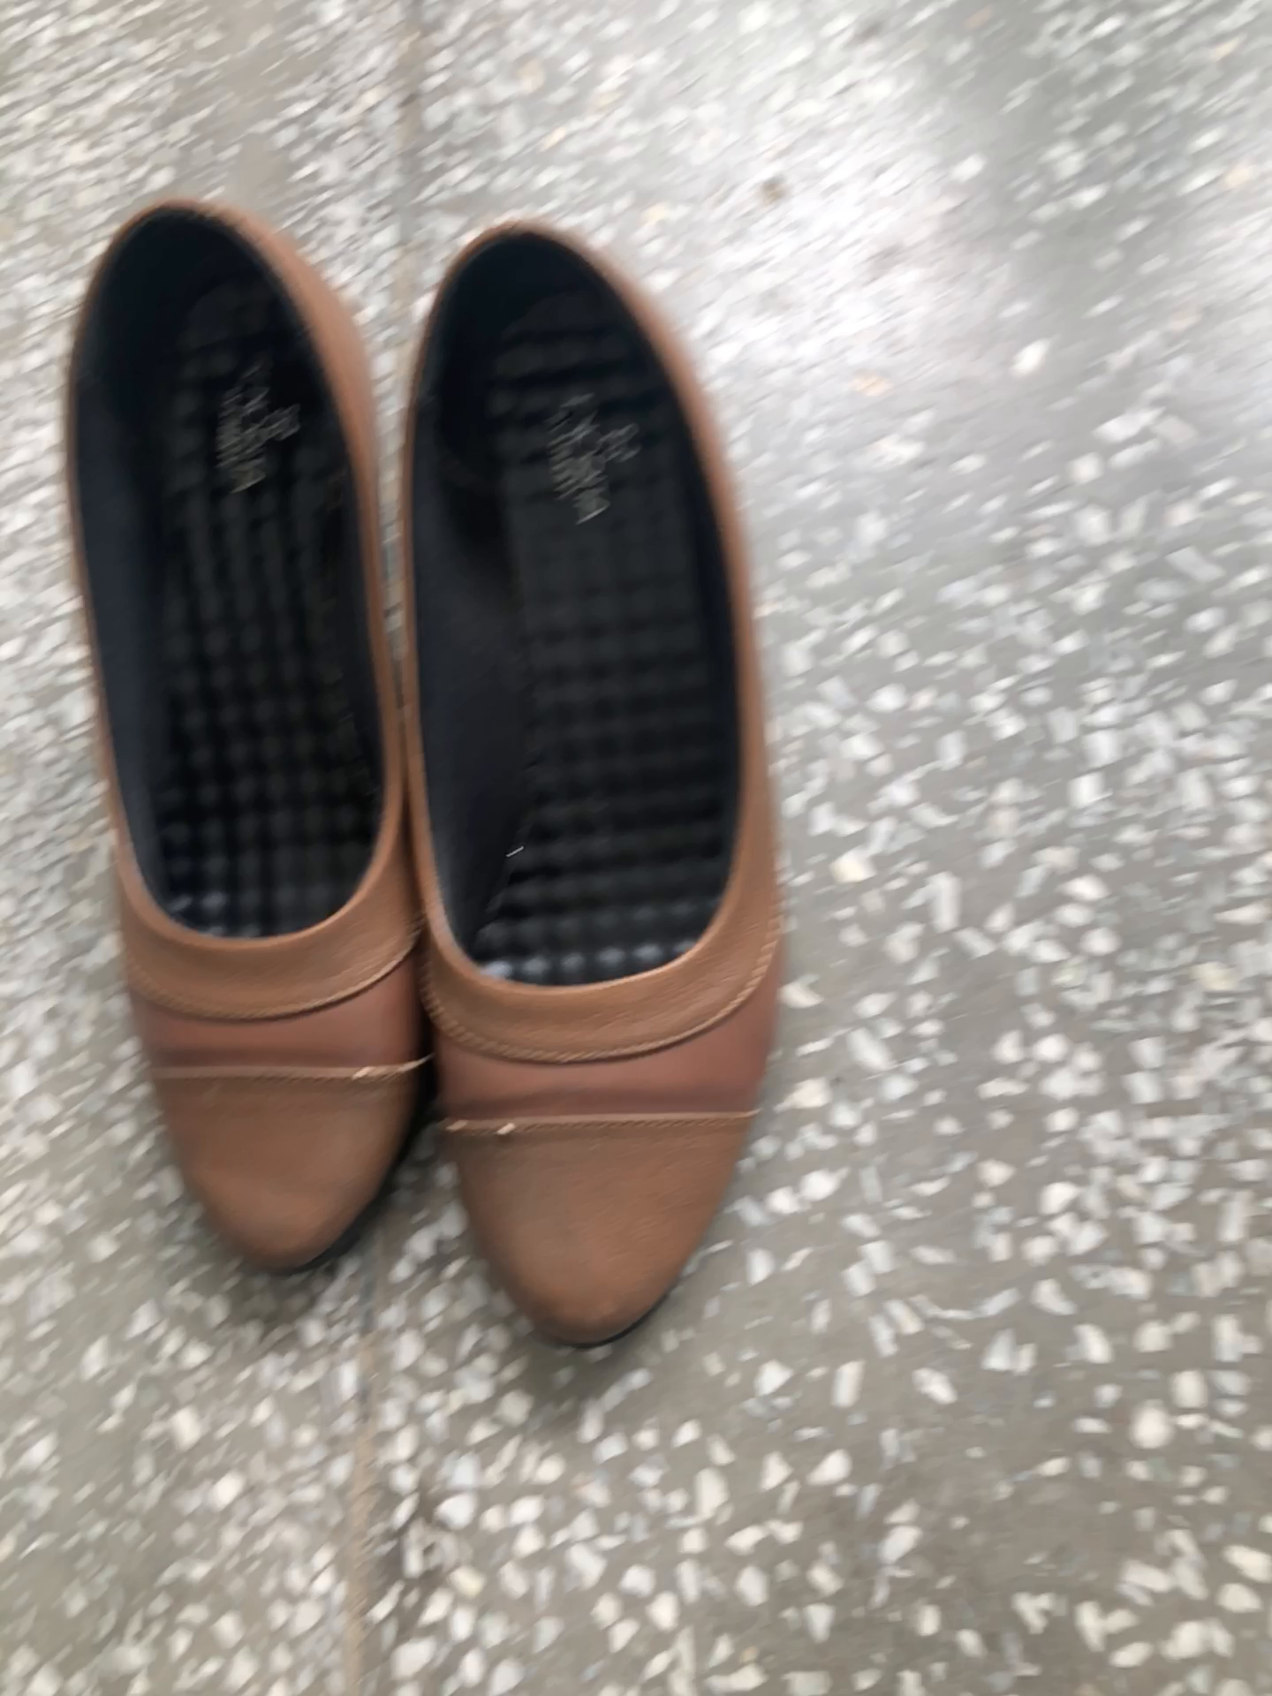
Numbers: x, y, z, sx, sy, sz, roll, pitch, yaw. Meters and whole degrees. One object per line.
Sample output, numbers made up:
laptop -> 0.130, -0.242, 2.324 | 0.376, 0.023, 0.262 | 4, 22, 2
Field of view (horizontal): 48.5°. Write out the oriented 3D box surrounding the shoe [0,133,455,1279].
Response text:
shoe -> -0.103, -0.027, 0.332 | 0.090, 0.096, 0.244 | -3, 72, 9

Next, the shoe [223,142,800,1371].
shoe -> -0.020, -0.016, 0.312 | 0.092, 0.096, 0.241 | -4, 72, 8
